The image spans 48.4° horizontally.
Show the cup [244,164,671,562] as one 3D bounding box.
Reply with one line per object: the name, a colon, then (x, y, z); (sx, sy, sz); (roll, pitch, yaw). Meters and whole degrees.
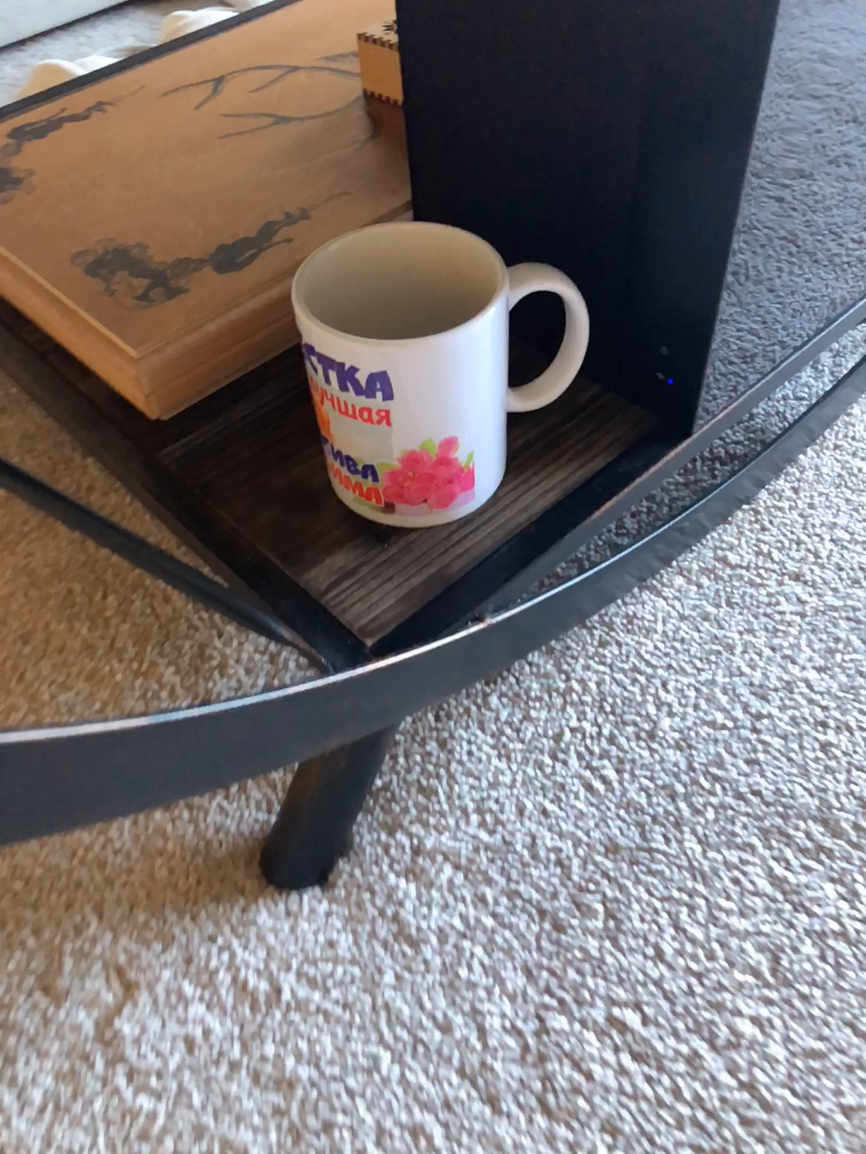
cup: (0.009, -0.091, 0.407); (0.140, 0.100, 0.090); (-18, 52, -11)
